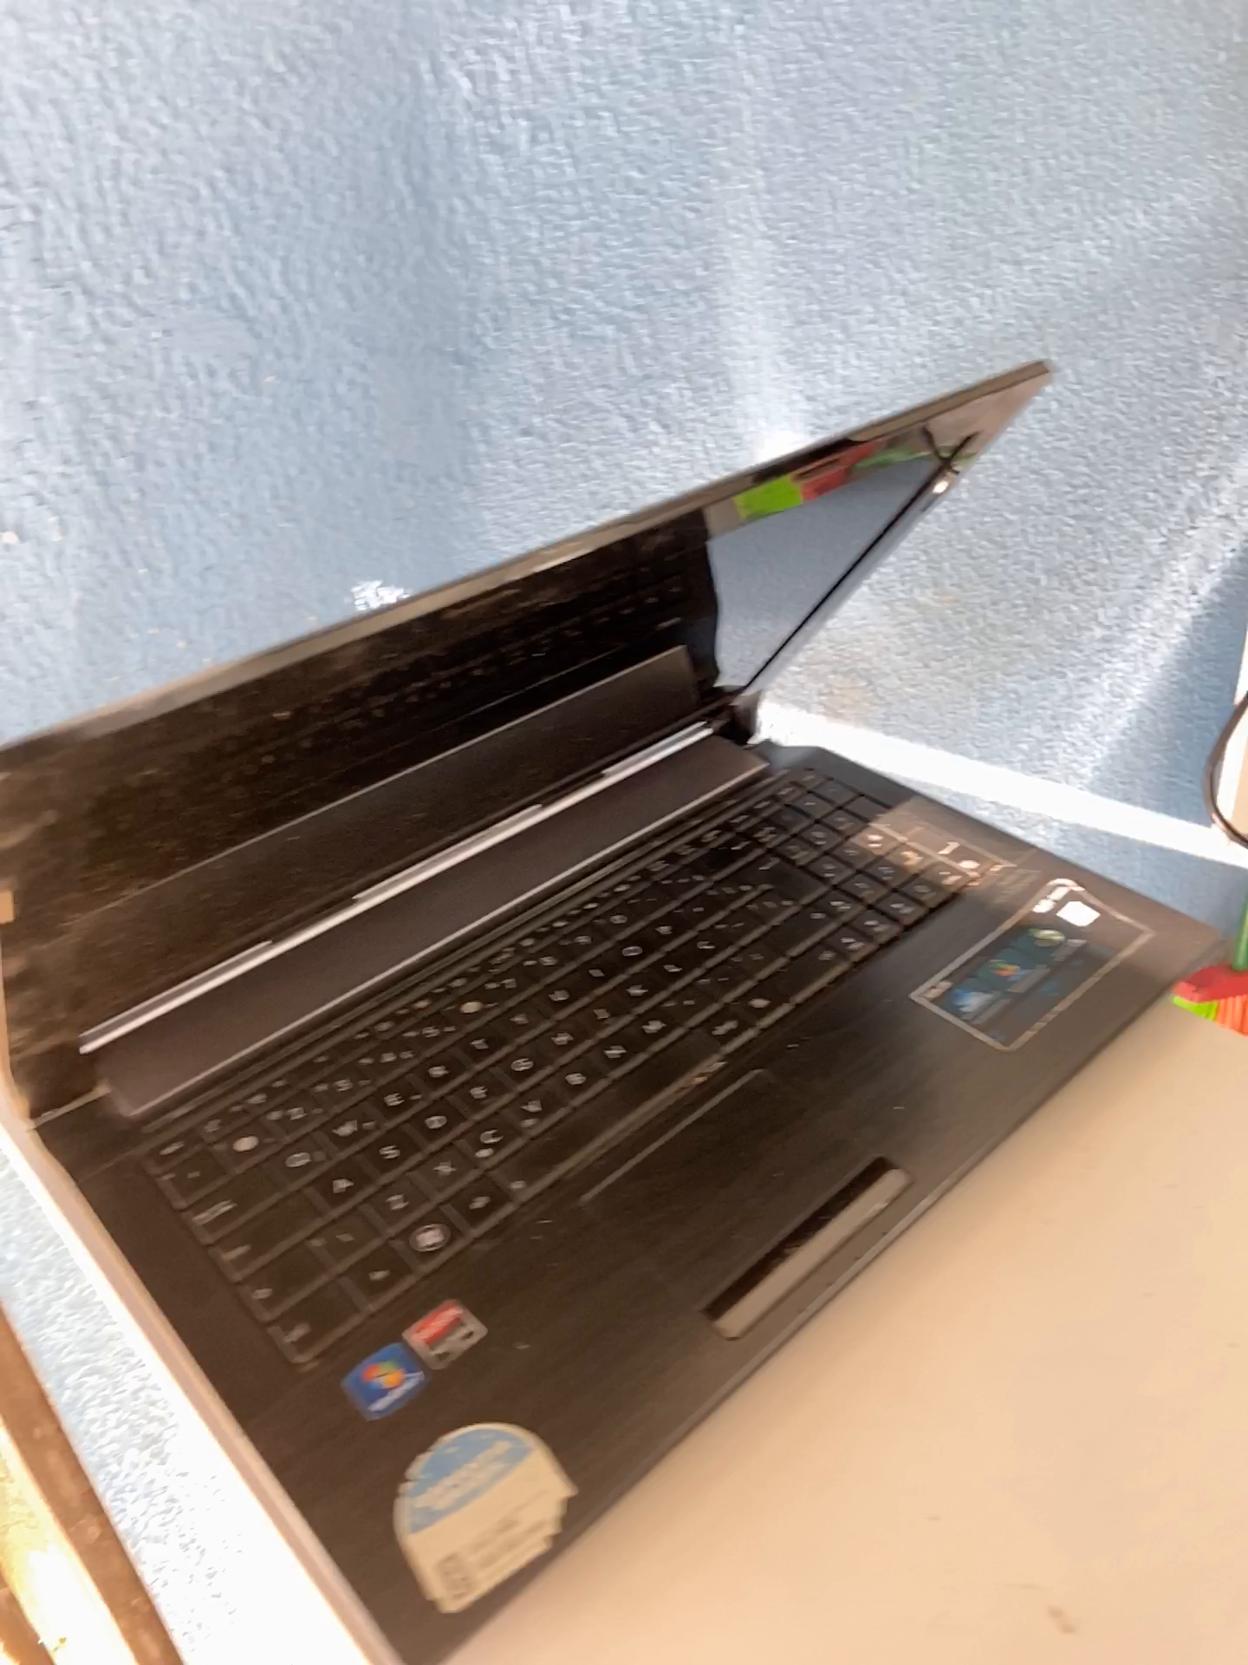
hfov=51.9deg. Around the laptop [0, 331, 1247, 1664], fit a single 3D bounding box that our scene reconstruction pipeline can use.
[{"bbox_3d":[0.003,-0.014,0.438,0.388,0.208,0.255,-28,38,-32],"label":"laptop"}]
